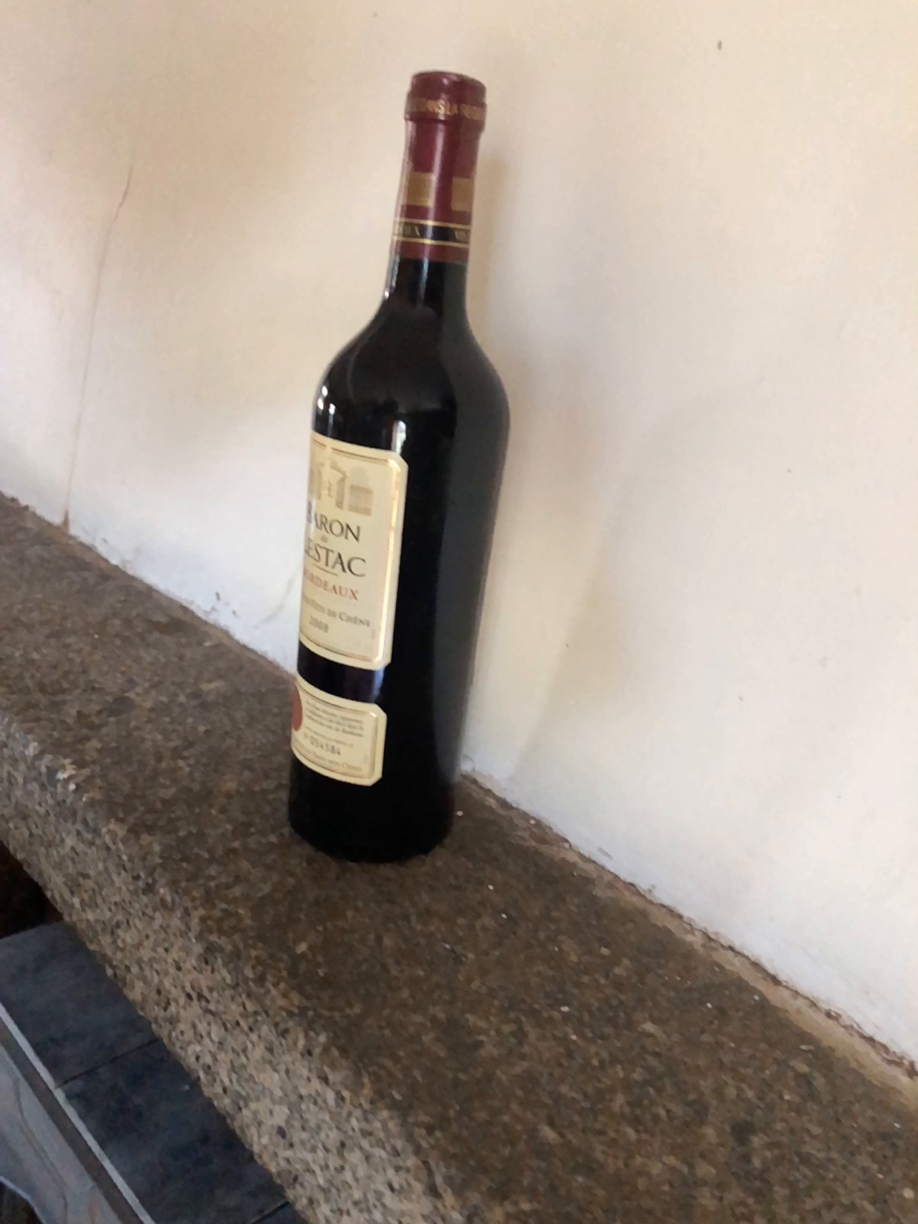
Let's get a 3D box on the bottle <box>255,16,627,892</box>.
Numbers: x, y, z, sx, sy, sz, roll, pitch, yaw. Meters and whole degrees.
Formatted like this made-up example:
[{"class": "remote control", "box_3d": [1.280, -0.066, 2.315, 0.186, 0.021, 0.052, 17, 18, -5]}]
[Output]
[{"class": "bottle", "box_3d": [-0.015, -0.049, 0.372, 0.070, 0.279, 0.080, -7, 22, -40]}]
